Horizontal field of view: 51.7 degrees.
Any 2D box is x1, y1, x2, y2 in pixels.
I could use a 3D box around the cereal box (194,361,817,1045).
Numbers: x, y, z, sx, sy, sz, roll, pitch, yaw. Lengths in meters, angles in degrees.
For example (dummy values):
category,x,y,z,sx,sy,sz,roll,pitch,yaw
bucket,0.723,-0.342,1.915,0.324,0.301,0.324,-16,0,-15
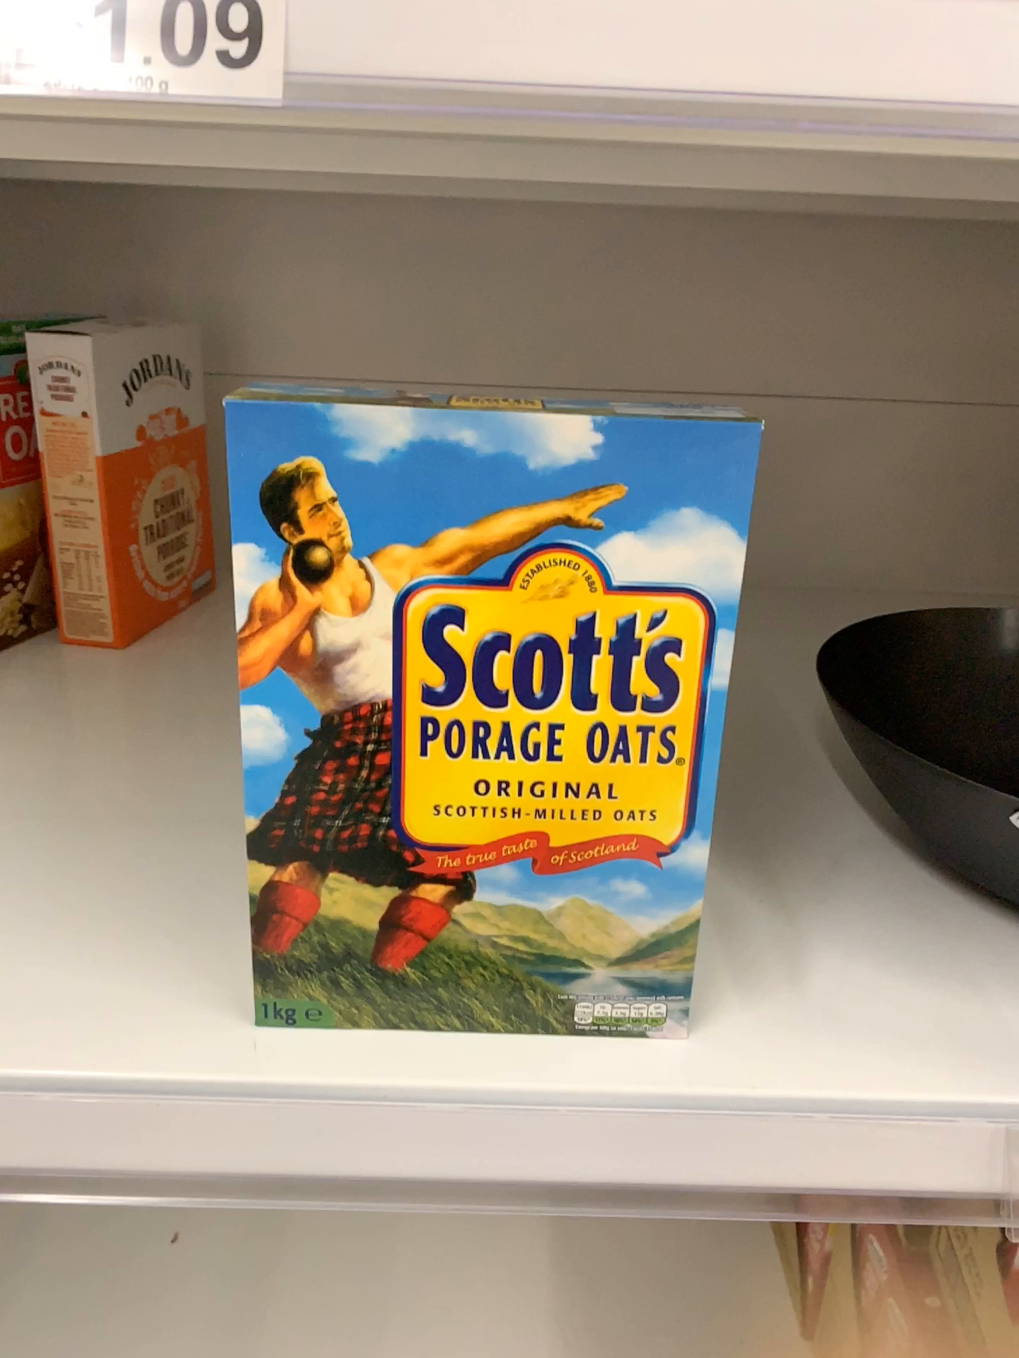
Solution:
category,x,y,z,sx,sy,sz,roll,pitch,yaw
cereal box,-0.006,0.015,0.435,0.210,0.268,0.071,2,21,-1
